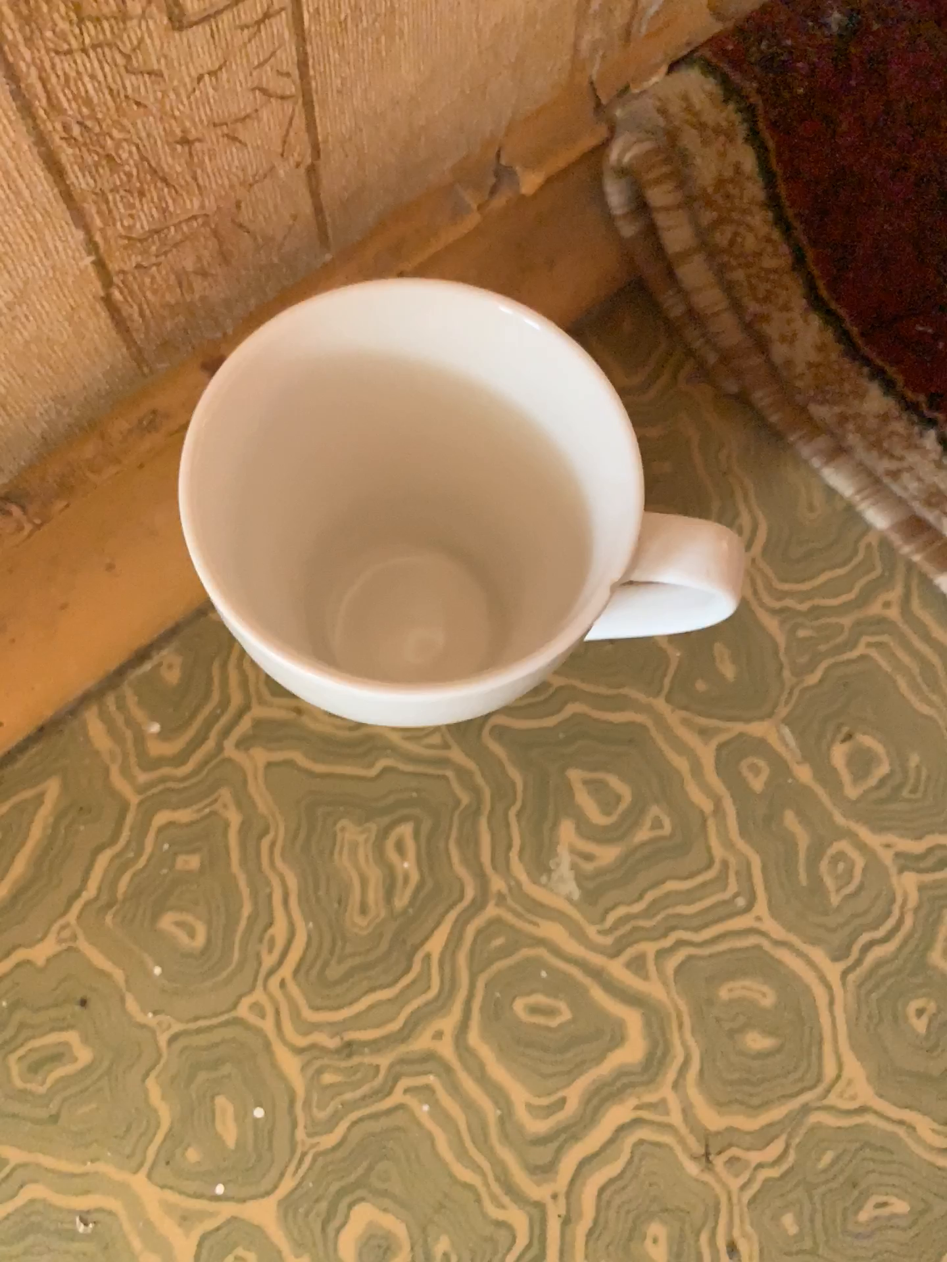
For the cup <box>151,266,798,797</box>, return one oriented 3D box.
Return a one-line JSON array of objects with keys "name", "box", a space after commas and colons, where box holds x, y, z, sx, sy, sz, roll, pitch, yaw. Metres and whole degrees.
[{"name": "cup", "box": [-0.001, -0.015, 0.243, 0.118, 0.099, 0.094, 2, 73, -3]}]
